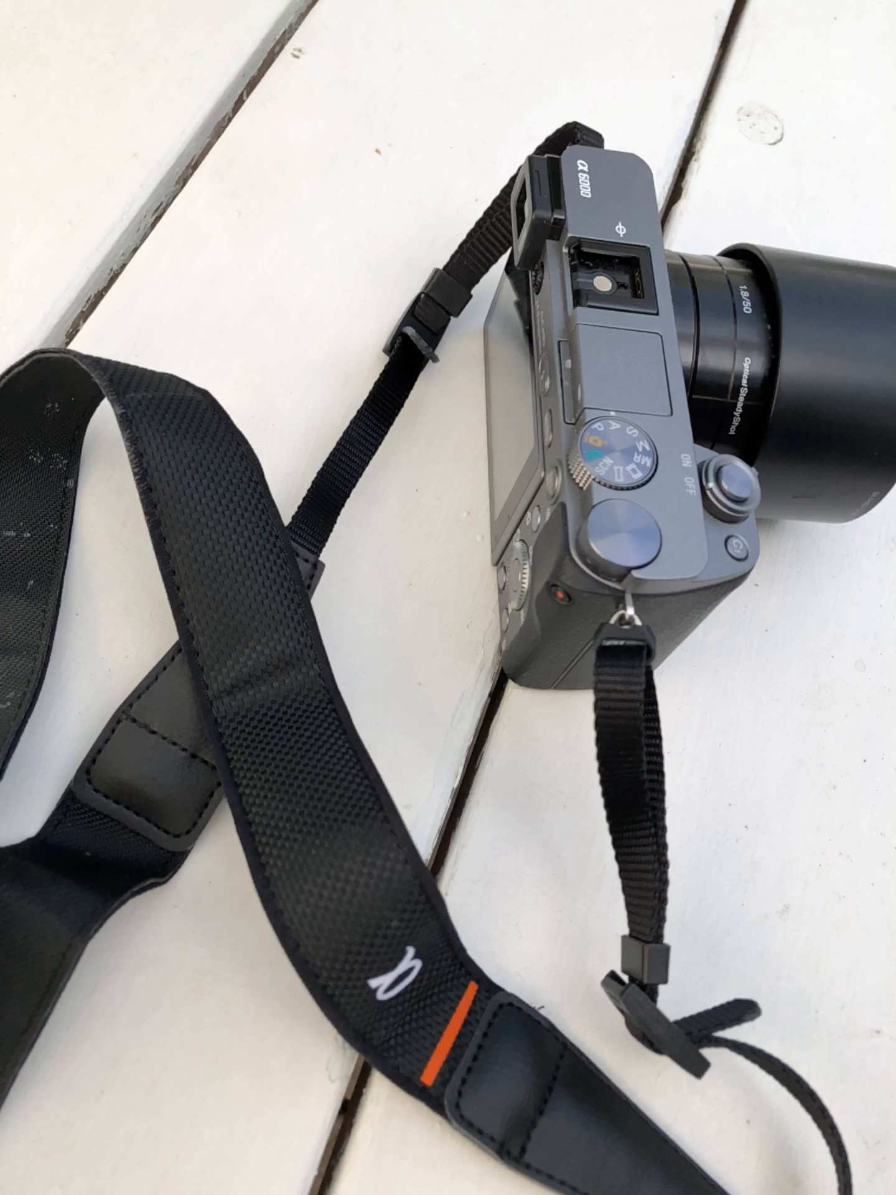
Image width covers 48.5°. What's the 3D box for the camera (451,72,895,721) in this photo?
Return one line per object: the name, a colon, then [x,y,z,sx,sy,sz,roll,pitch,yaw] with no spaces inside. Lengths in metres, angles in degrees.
camera: [0.065,-0.049,0.256,0.110,0.070,0.140,4,62,-13]
